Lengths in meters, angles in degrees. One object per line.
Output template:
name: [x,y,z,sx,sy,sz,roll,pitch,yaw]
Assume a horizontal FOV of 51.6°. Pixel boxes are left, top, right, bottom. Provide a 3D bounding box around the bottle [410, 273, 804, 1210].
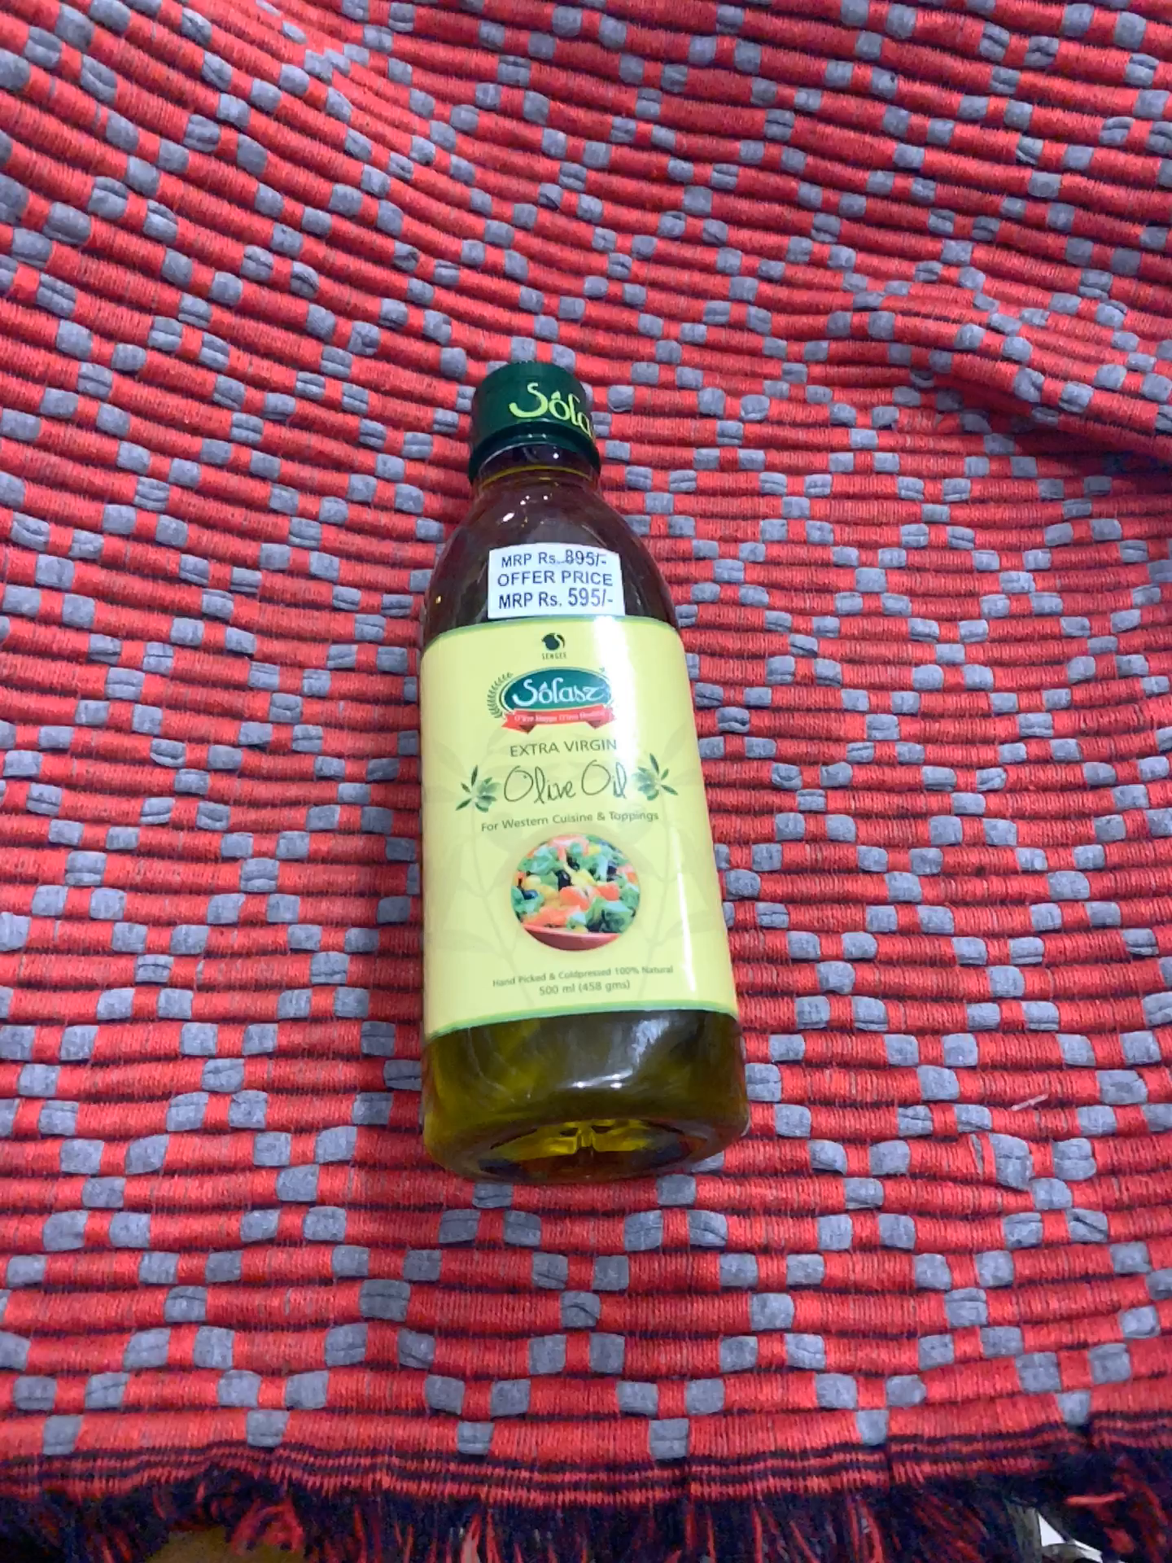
bottle: [-0.005,-0.019,0.268,0.060,0.070,0.201,-3,57,-3]
